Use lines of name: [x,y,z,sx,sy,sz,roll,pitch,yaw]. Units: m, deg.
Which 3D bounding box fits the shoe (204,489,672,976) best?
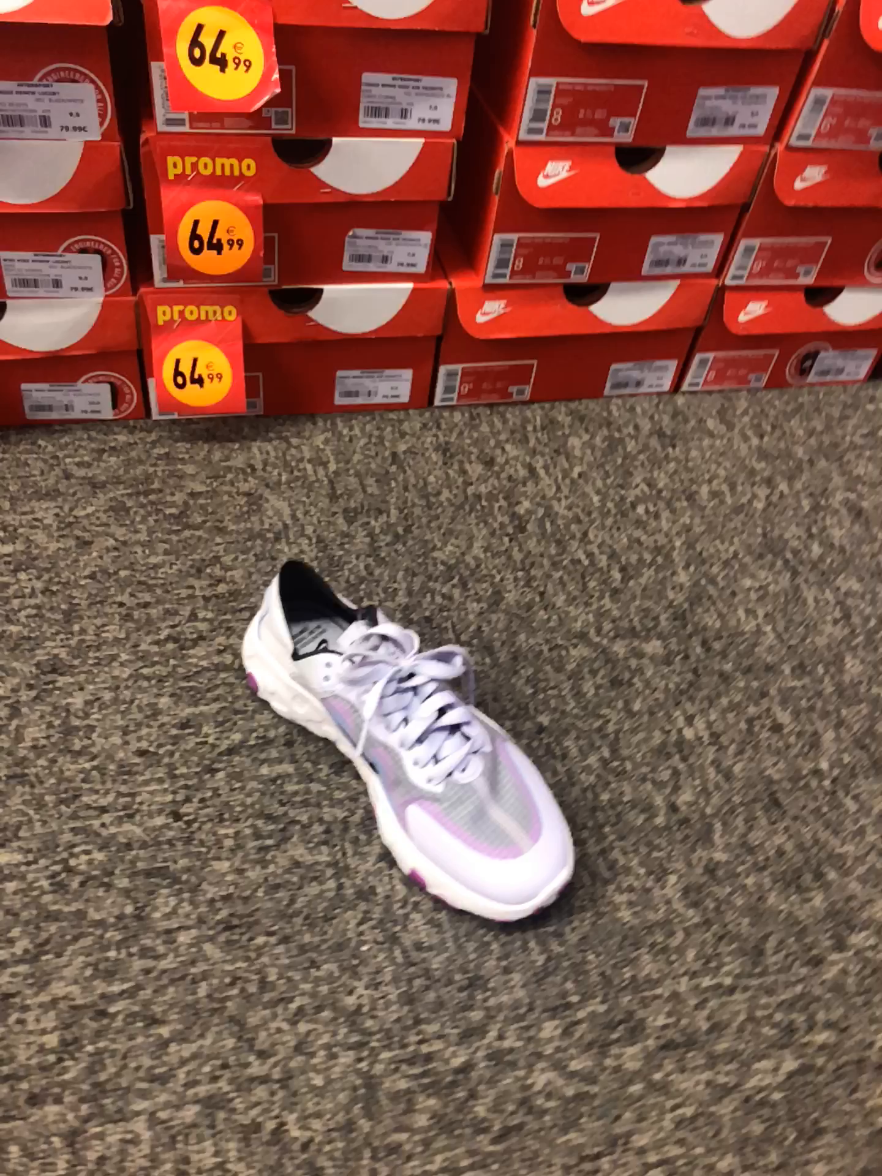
shoe: [-0.015,0.071,0.556,0.101,0.099,0.260,-32,60,-32]
